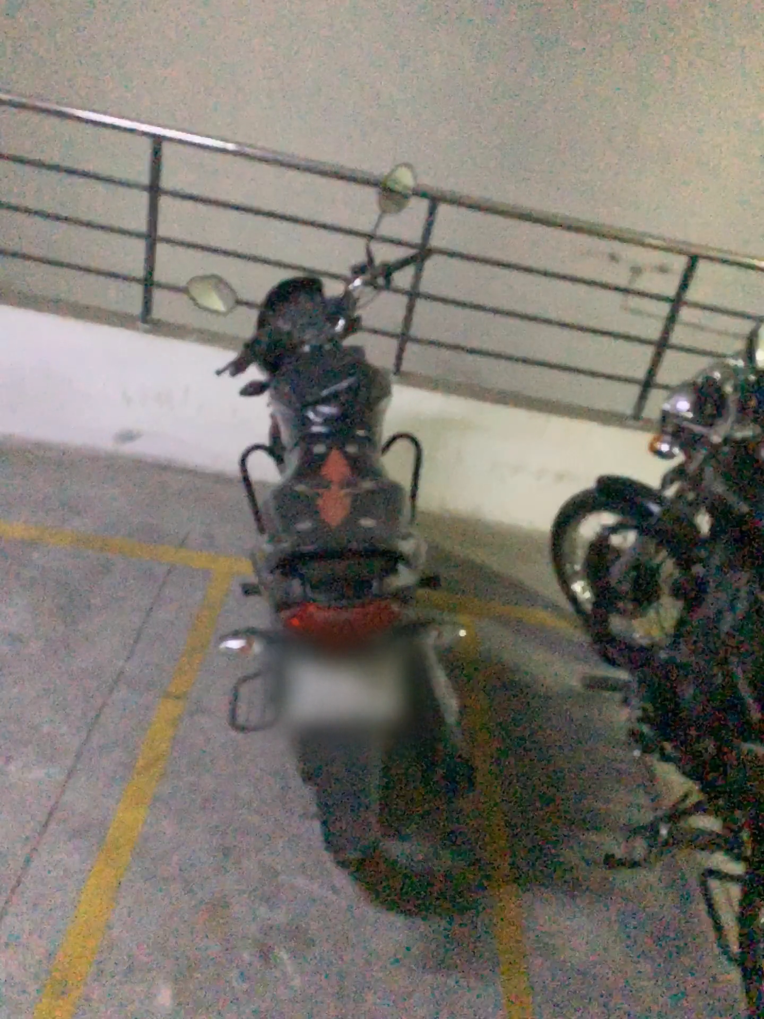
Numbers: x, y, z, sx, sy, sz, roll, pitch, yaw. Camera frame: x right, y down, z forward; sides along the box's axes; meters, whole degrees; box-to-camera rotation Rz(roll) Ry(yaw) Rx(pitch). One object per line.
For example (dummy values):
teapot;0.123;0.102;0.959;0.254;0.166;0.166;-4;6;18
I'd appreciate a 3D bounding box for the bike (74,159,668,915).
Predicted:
bike;-0.262;-0.130;1.932;0.755;1.068;1.683;5;28;-16
